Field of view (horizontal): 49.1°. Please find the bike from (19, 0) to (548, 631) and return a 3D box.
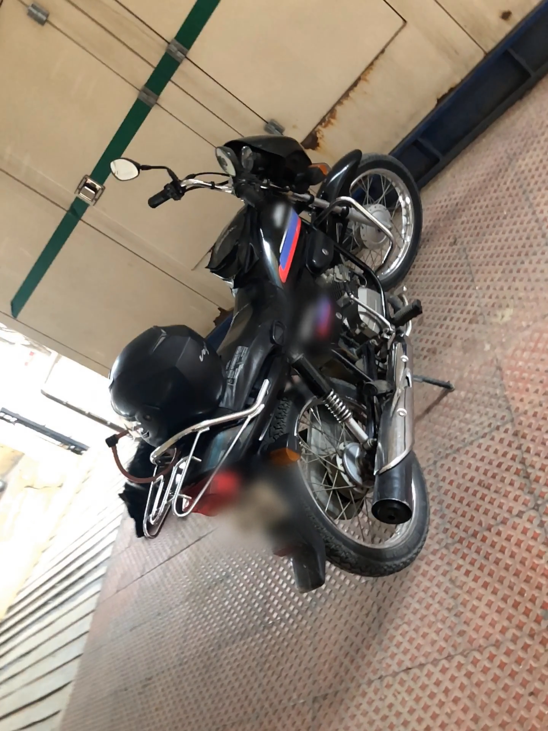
[{"bbox_3d":[0.222,-0.270,2.029,0.737,1.088,1.861,-34,31,43],"label":"bike"}]
